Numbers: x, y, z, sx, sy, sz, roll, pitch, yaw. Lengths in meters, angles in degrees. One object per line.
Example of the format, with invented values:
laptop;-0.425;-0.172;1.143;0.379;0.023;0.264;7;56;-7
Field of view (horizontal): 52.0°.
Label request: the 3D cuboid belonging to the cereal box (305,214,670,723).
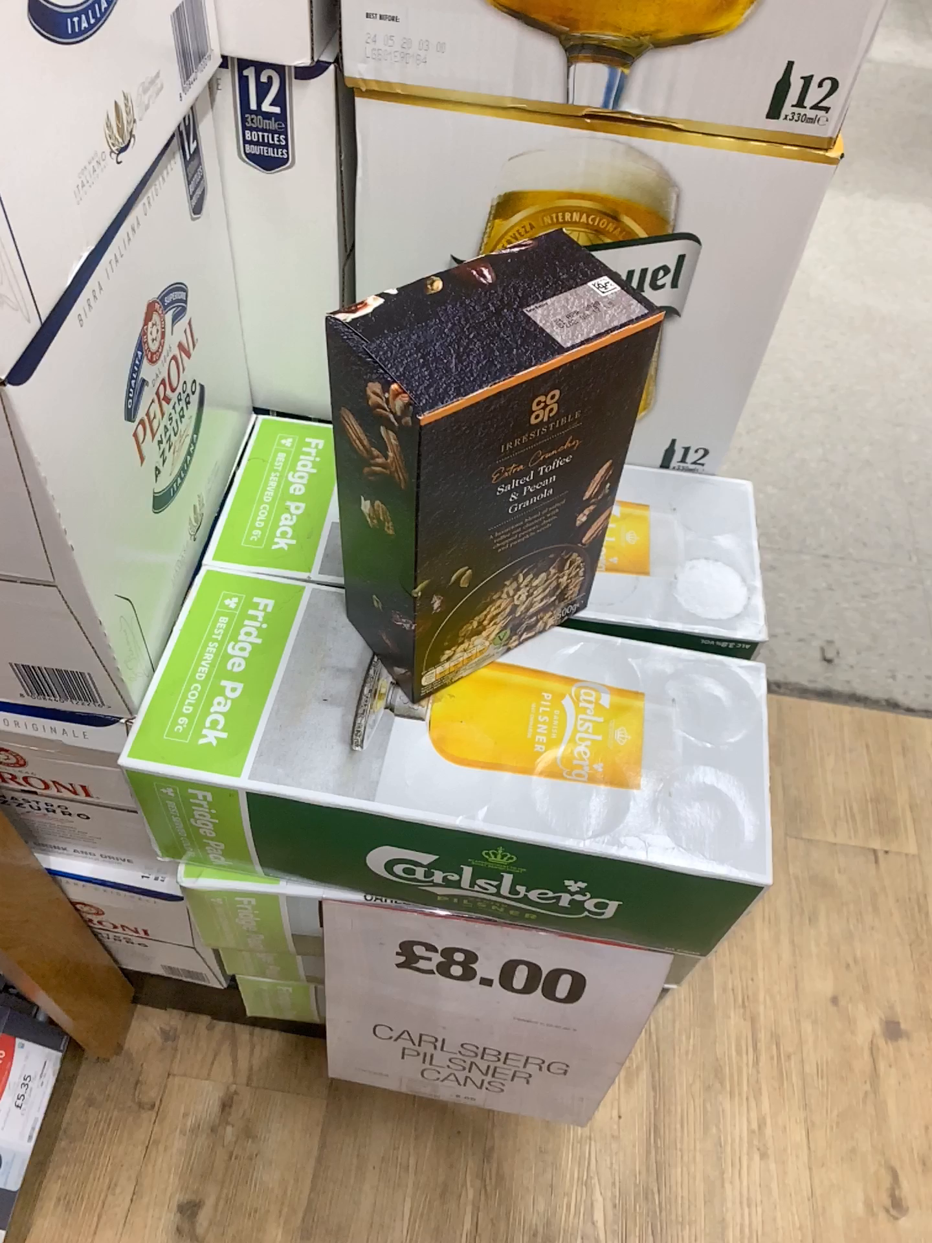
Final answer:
cereal box;0.003;-0.063;0.460;0.120;0.208;0.080;-29;60;-23
